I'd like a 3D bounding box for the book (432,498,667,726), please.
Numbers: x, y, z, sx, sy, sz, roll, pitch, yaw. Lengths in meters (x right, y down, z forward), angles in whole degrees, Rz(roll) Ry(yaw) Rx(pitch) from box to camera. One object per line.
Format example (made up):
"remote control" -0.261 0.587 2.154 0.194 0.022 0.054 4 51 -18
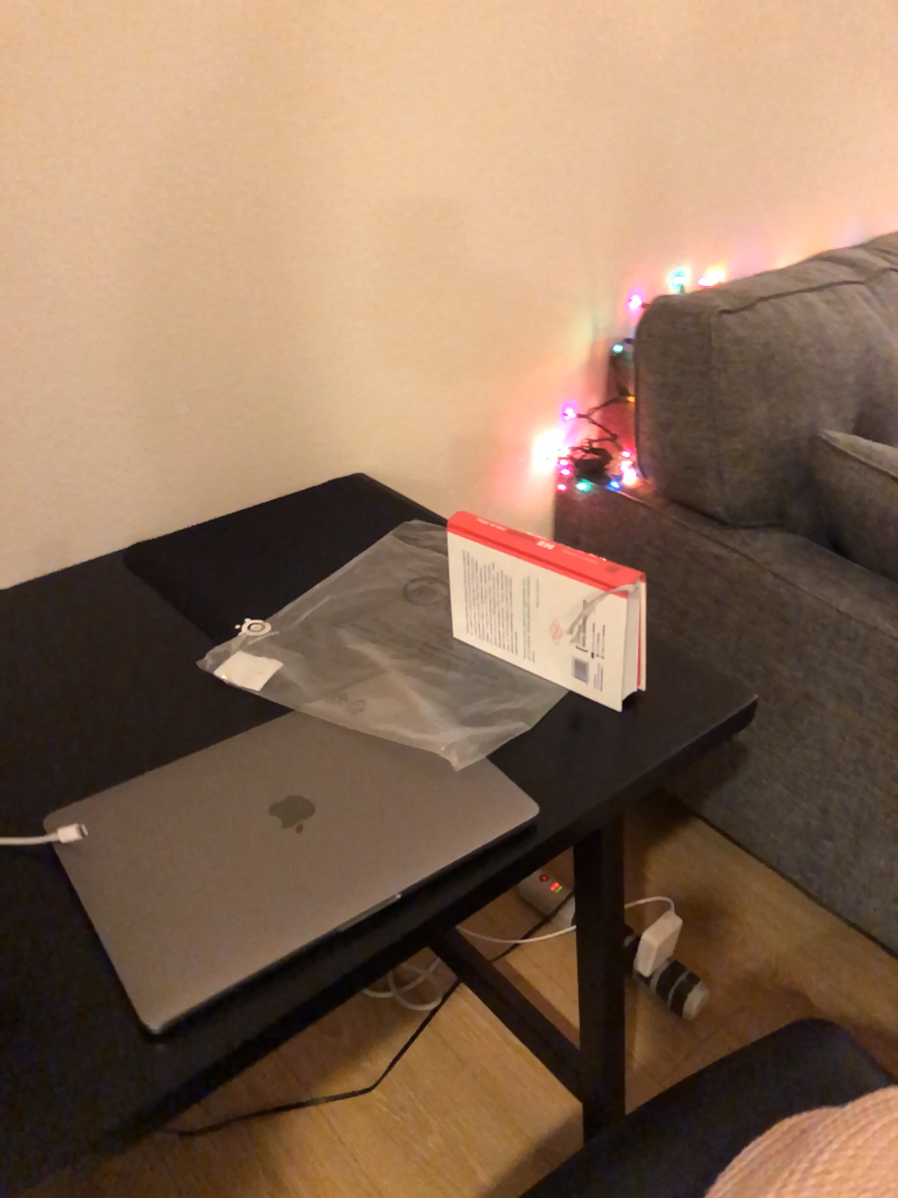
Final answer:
"book" 0.080 0.007 0.867 0.200 0.129 0.050 23 37 31
